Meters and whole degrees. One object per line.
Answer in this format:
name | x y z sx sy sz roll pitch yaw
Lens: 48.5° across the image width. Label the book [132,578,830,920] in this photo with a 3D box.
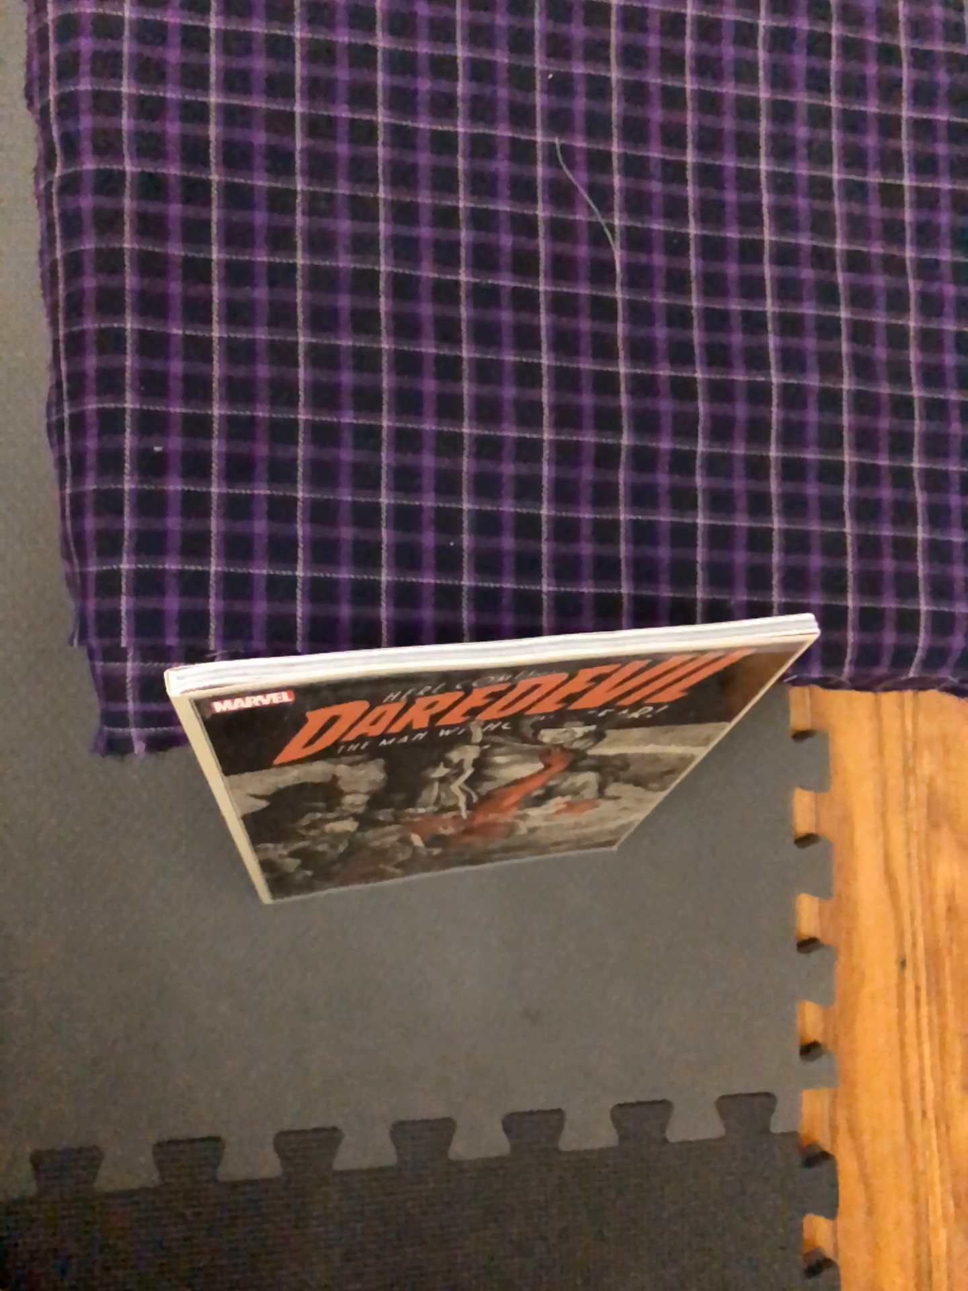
book | -0.009 0.048 0.351 0.160 0.230 0.020 -7 67 -9
